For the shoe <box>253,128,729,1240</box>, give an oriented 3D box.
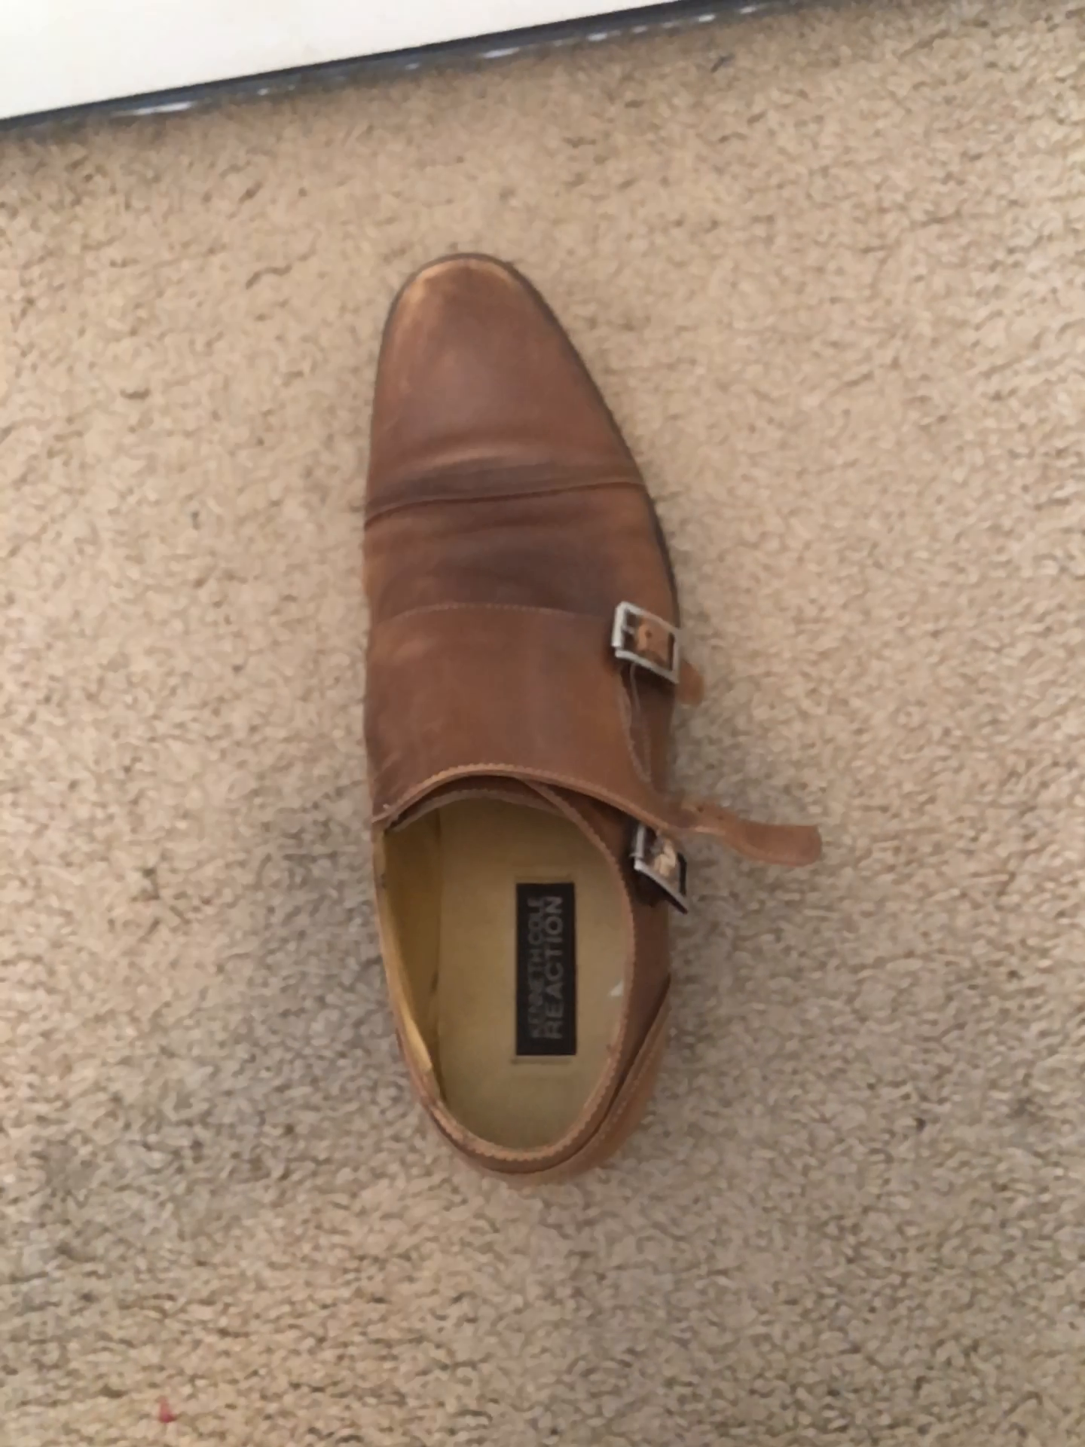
[{"bbox_3d":[-0.013,-0.011,0.371,0.099,0.107,0.286,-7,81,5],"label":"shoe"}]
